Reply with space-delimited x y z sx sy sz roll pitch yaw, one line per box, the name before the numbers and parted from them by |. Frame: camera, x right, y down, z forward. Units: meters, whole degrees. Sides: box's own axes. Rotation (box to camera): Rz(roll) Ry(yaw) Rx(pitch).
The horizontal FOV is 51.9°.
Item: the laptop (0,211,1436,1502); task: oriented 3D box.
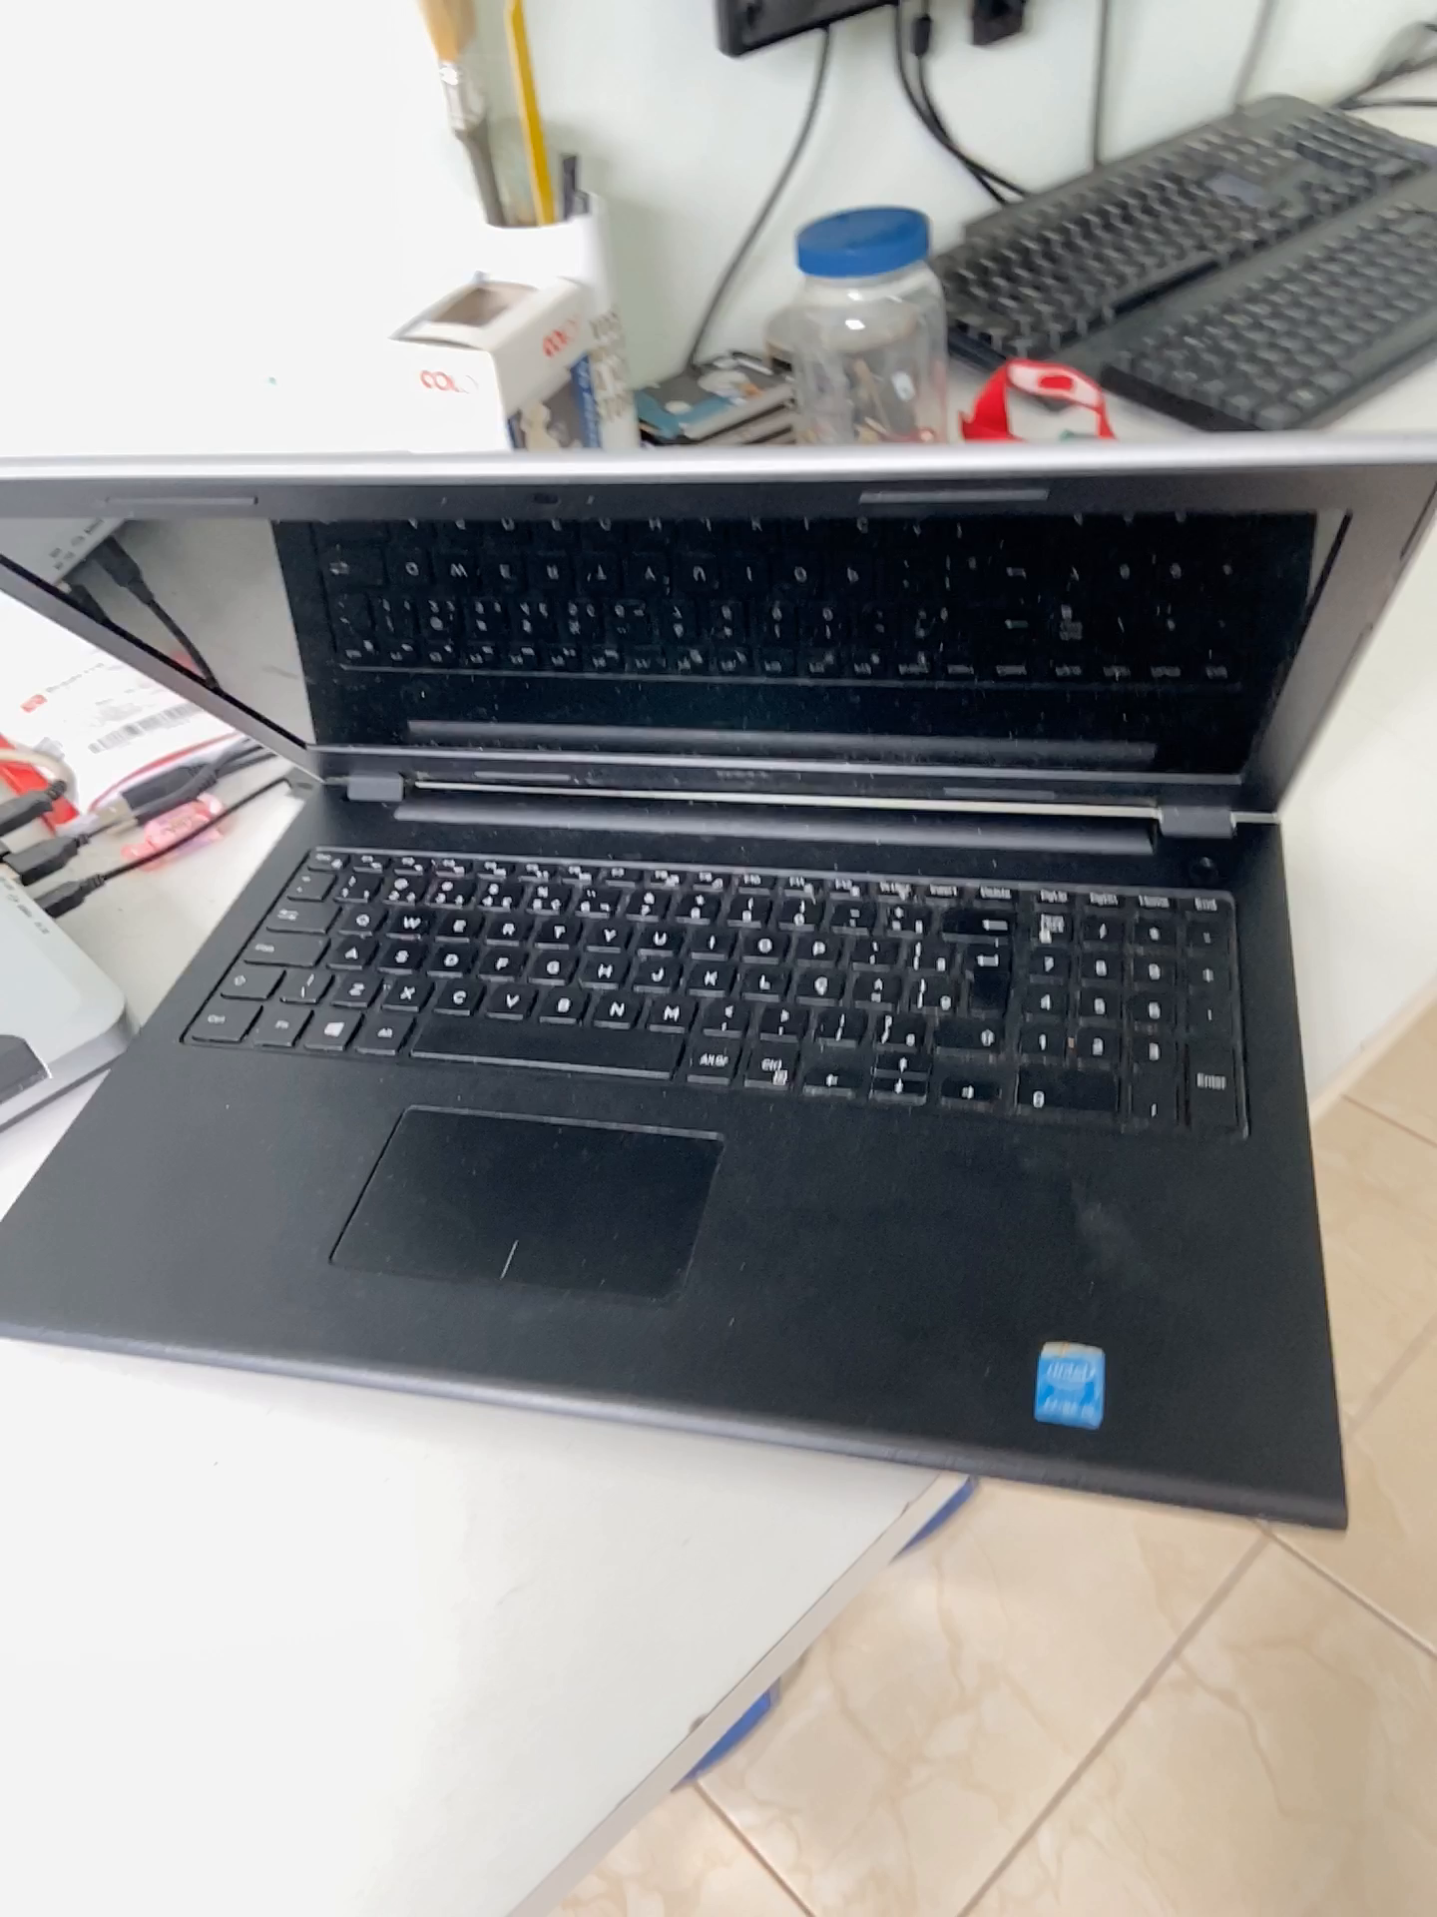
laptop | -0.014 -0.048 0.407 0.374 0.204 0.258 4 43 13
